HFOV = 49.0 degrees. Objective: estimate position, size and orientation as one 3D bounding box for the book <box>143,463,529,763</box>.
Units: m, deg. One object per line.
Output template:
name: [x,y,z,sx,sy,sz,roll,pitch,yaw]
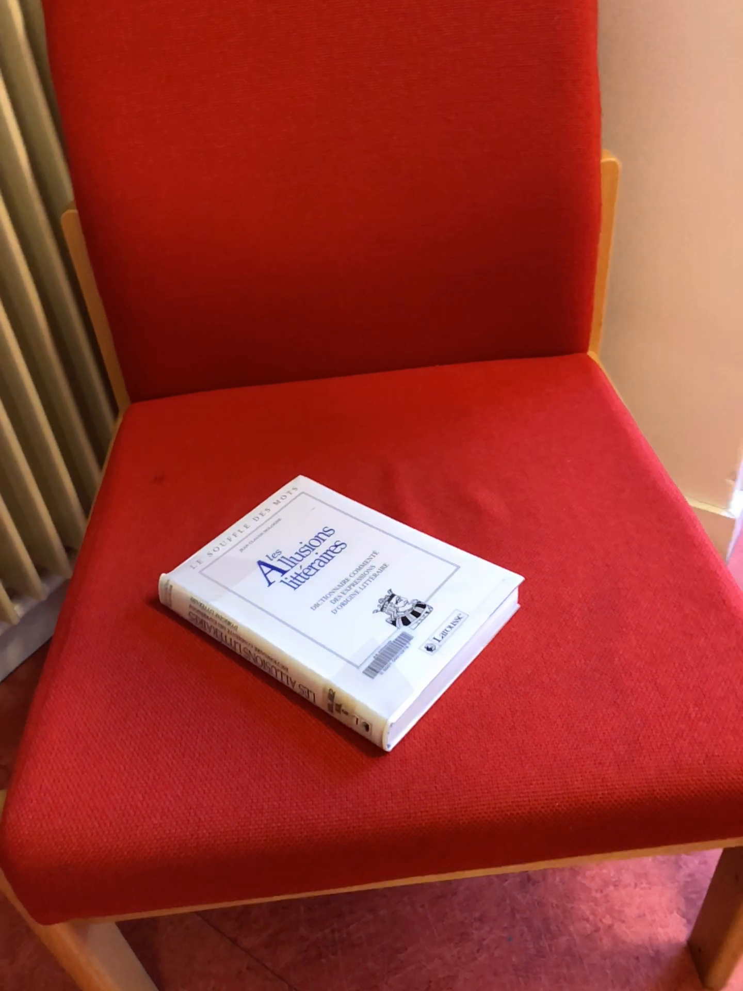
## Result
book: [-0.026,0.064,0.560,0.217,0.030,0.151,25,48,32]
